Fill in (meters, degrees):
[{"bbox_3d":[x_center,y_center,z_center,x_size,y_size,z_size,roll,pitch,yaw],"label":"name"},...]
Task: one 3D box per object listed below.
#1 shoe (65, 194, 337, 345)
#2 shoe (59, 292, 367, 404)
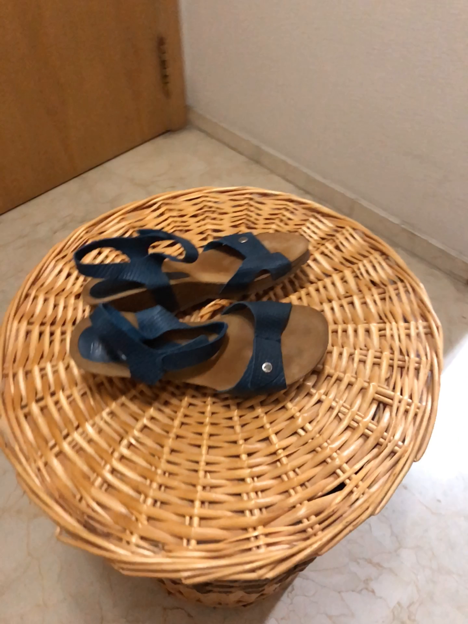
[{"bbox_3d":[-0.034,-0.054,0.579,0.280,0.060,0.090,-16,46,-13],"label":"shoe"},{"bbox_3d":[-0.019,0.035,0.522,0.280,0.060,0.090,-1,45,-1],"label":"shoe"}]
